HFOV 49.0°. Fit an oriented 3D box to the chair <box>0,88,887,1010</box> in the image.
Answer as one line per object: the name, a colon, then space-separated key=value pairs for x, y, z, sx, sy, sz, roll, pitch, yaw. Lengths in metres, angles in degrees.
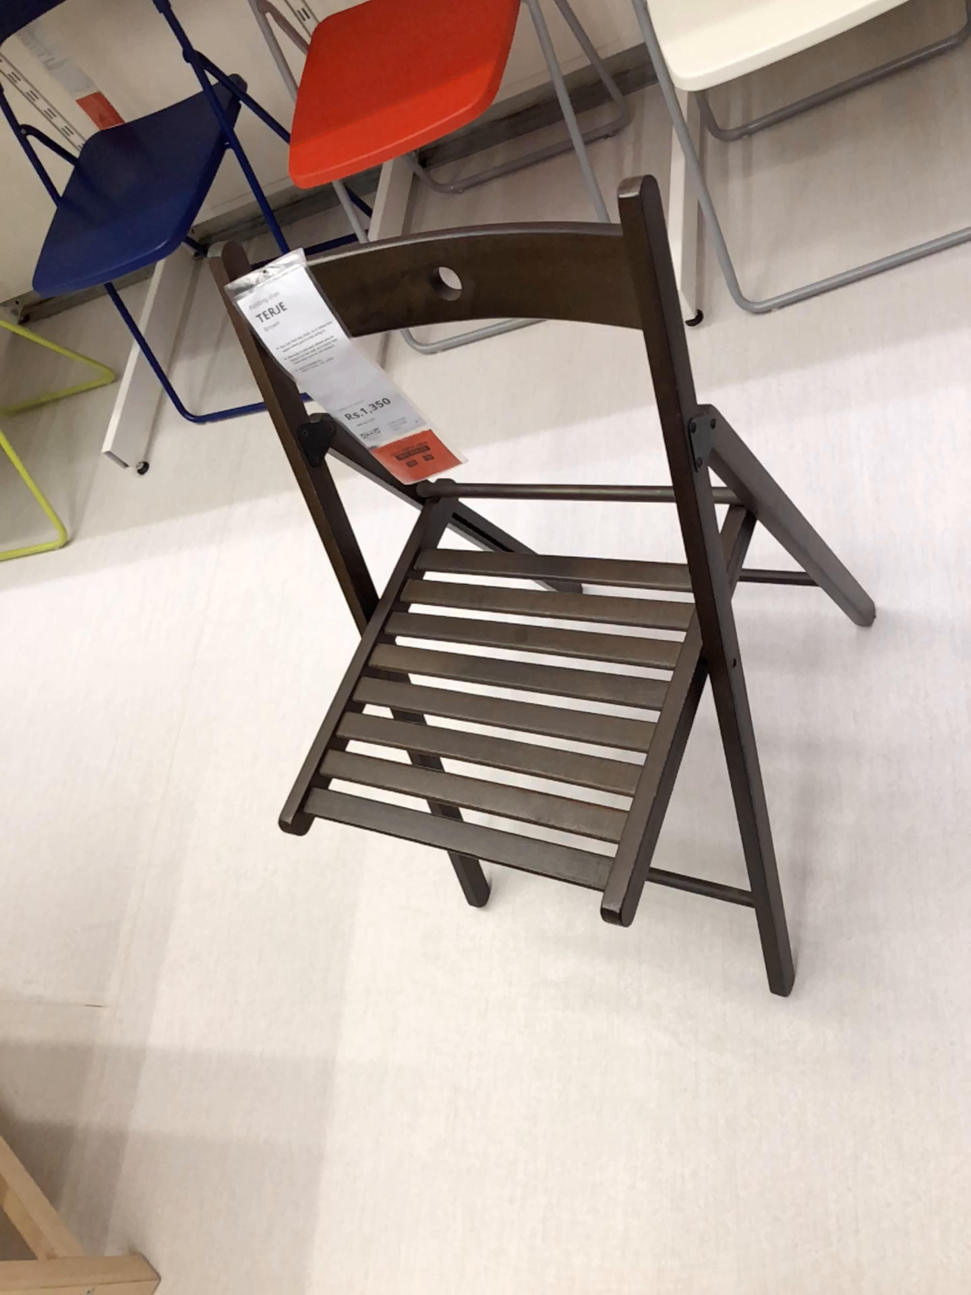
chair: x=0.048 y=-0.011 z=1.069 sx=0.462 sy=0.776 sz=0.501 roll=7 pitch=69 yaw=33
